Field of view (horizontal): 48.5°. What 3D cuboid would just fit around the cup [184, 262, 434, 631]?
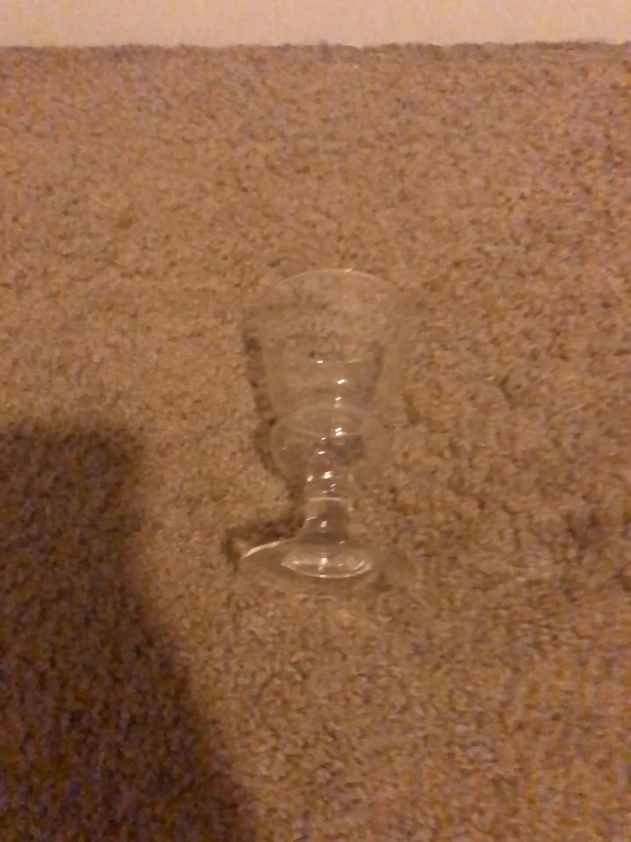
[{"bbox_3d":[0.001,0.011,0.338,0.094,0.078,0.158,-2,57,4],"label":"cup"}]
